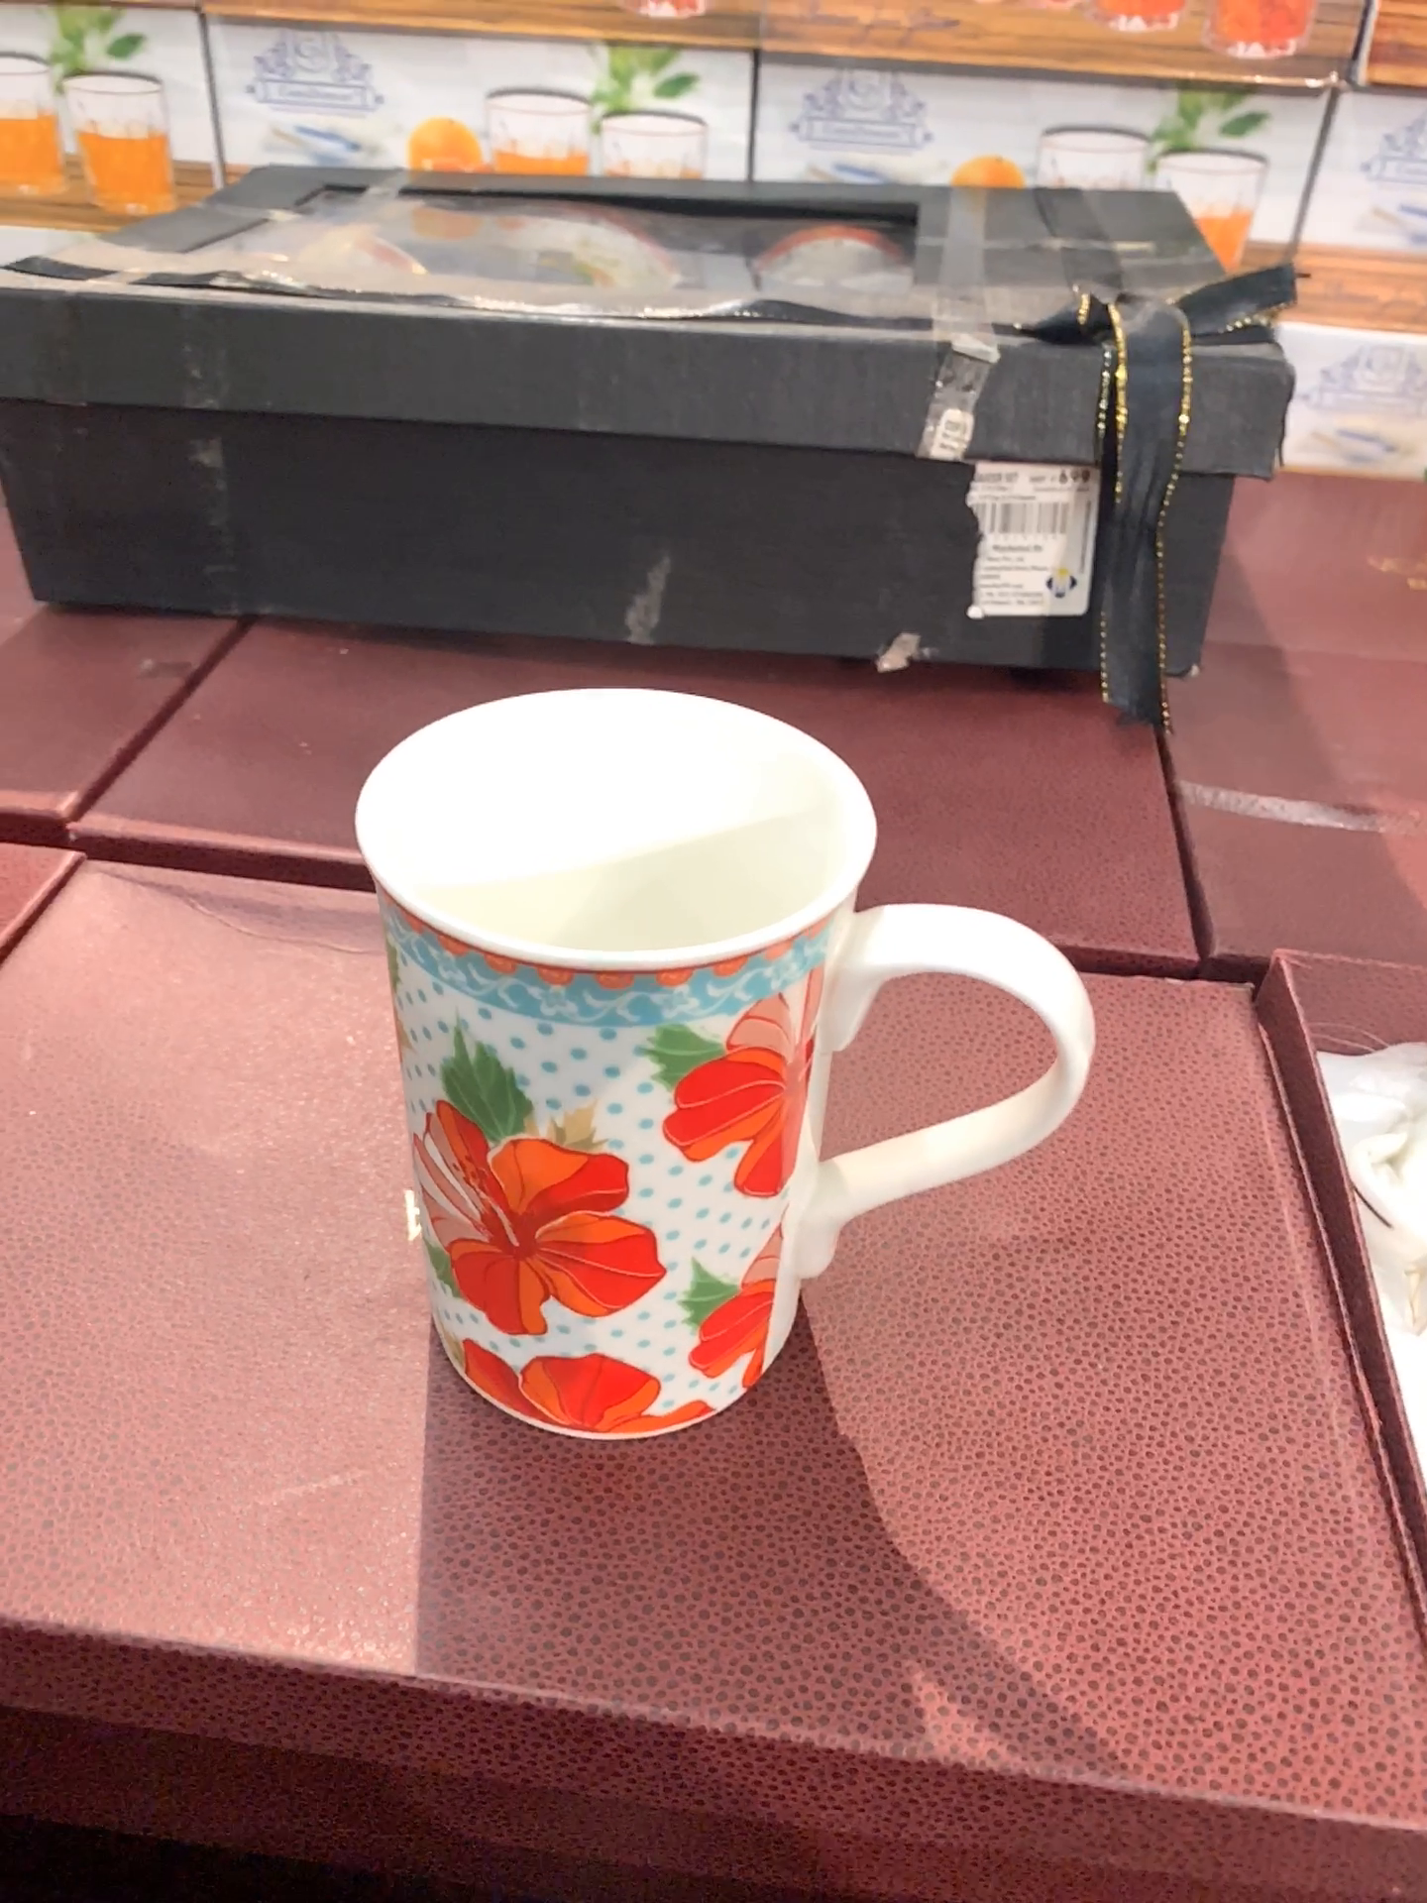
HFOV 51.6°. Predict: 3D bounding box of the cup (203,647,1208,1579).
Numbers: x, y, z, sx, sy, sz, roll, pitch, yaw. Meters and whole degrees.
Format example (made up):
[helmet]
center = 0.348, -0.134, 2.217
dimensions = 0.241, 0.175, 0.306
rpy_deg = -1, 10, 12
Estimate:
[cup]
center = 0.001, 0.025, 0.239
dimensions = 0.120, 0.110, 0.080
rpy_deg = 7, 37, 5
